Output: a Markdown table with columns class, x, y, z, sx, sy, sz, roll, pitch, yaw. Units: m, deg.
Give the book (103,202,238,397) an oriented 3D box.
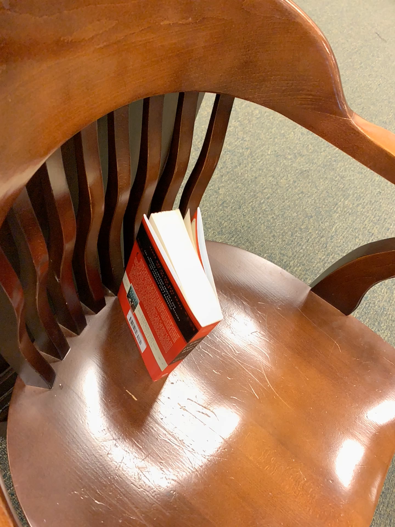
| class | x | y | z | sx | sy | sz | roll | pitch | yaw |
| --- | --- | --- | --- | --- | --- | --- | --- | --- | --- |
| book | -0.048 | 0.050 | 0.483 | 0.071 | 0.199 | 0.150 | -7 | 62 | -26 |
